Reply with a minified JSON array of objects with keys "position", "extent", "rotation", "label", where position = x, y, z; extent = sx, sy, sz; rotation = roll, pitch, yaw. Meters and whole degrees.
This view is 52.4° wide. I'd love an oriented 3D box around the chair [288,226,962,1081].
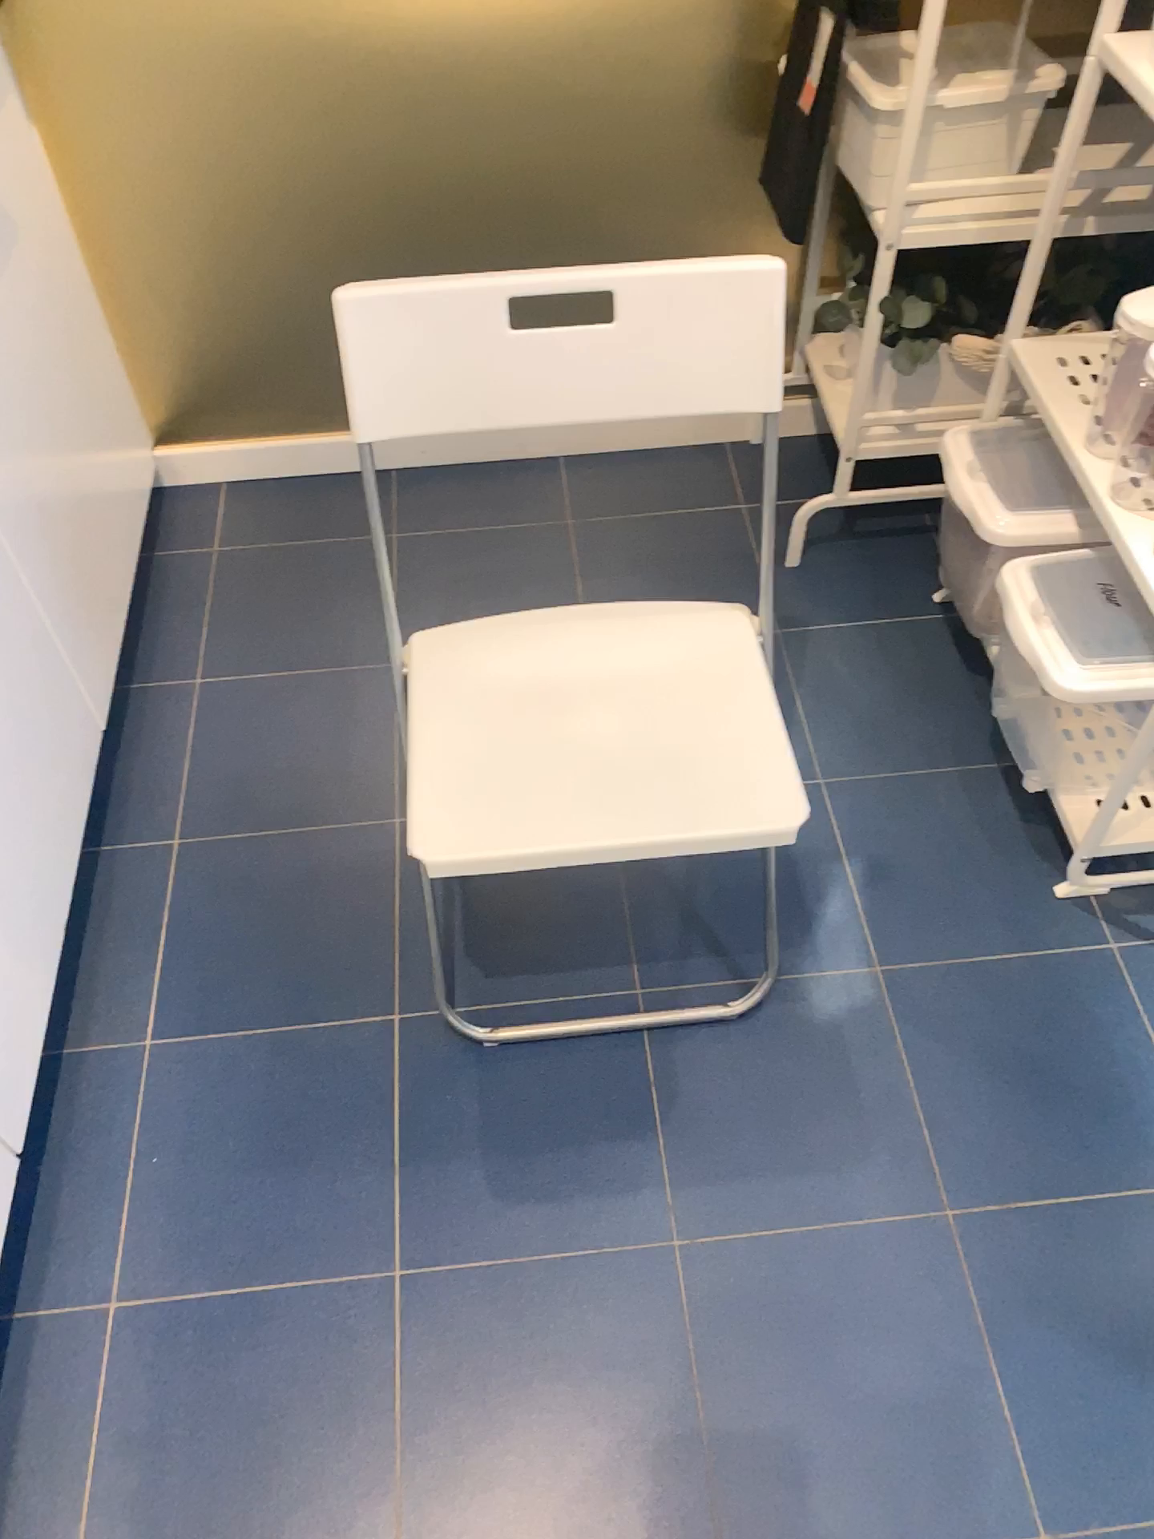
[{"position":[0.022,-0.062,1.185],"extent":[0.440,0.748,0.421],"rotation":[-5,51,-2],"label":"chair"}]
